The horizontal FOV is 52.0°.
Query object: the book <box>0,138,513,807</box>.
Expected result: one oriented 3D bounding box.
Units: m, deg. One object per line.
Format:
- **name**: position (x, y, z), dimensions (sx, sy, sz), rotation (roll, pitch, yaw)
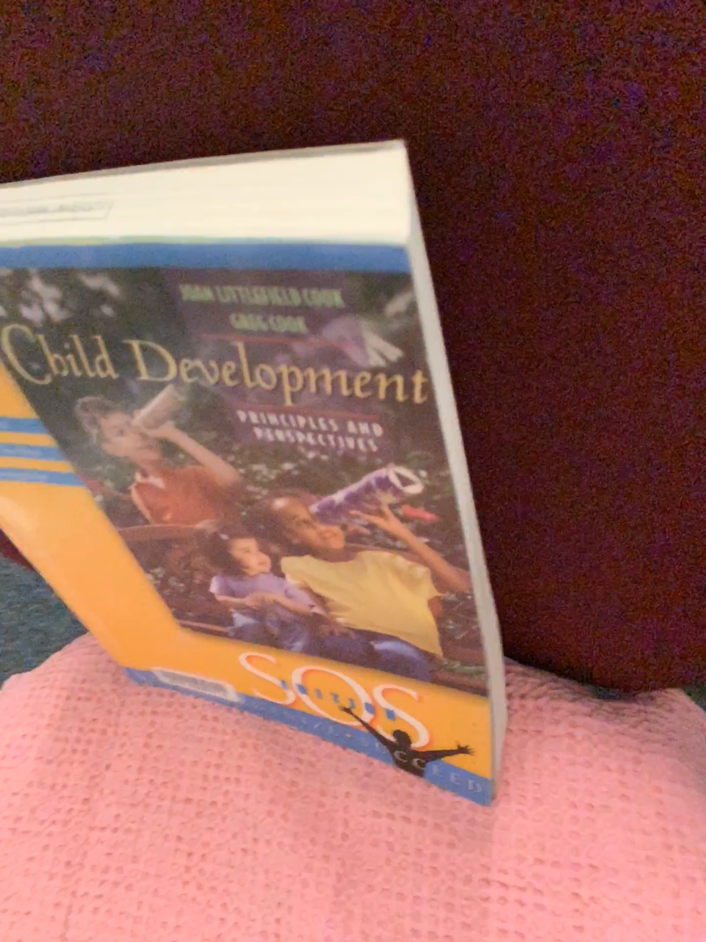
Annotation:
- **book**: position (-0.063, 0.022, 0.283), dimensions (0.225, 0.258, 0.050), rotation (6, 45, 22)
